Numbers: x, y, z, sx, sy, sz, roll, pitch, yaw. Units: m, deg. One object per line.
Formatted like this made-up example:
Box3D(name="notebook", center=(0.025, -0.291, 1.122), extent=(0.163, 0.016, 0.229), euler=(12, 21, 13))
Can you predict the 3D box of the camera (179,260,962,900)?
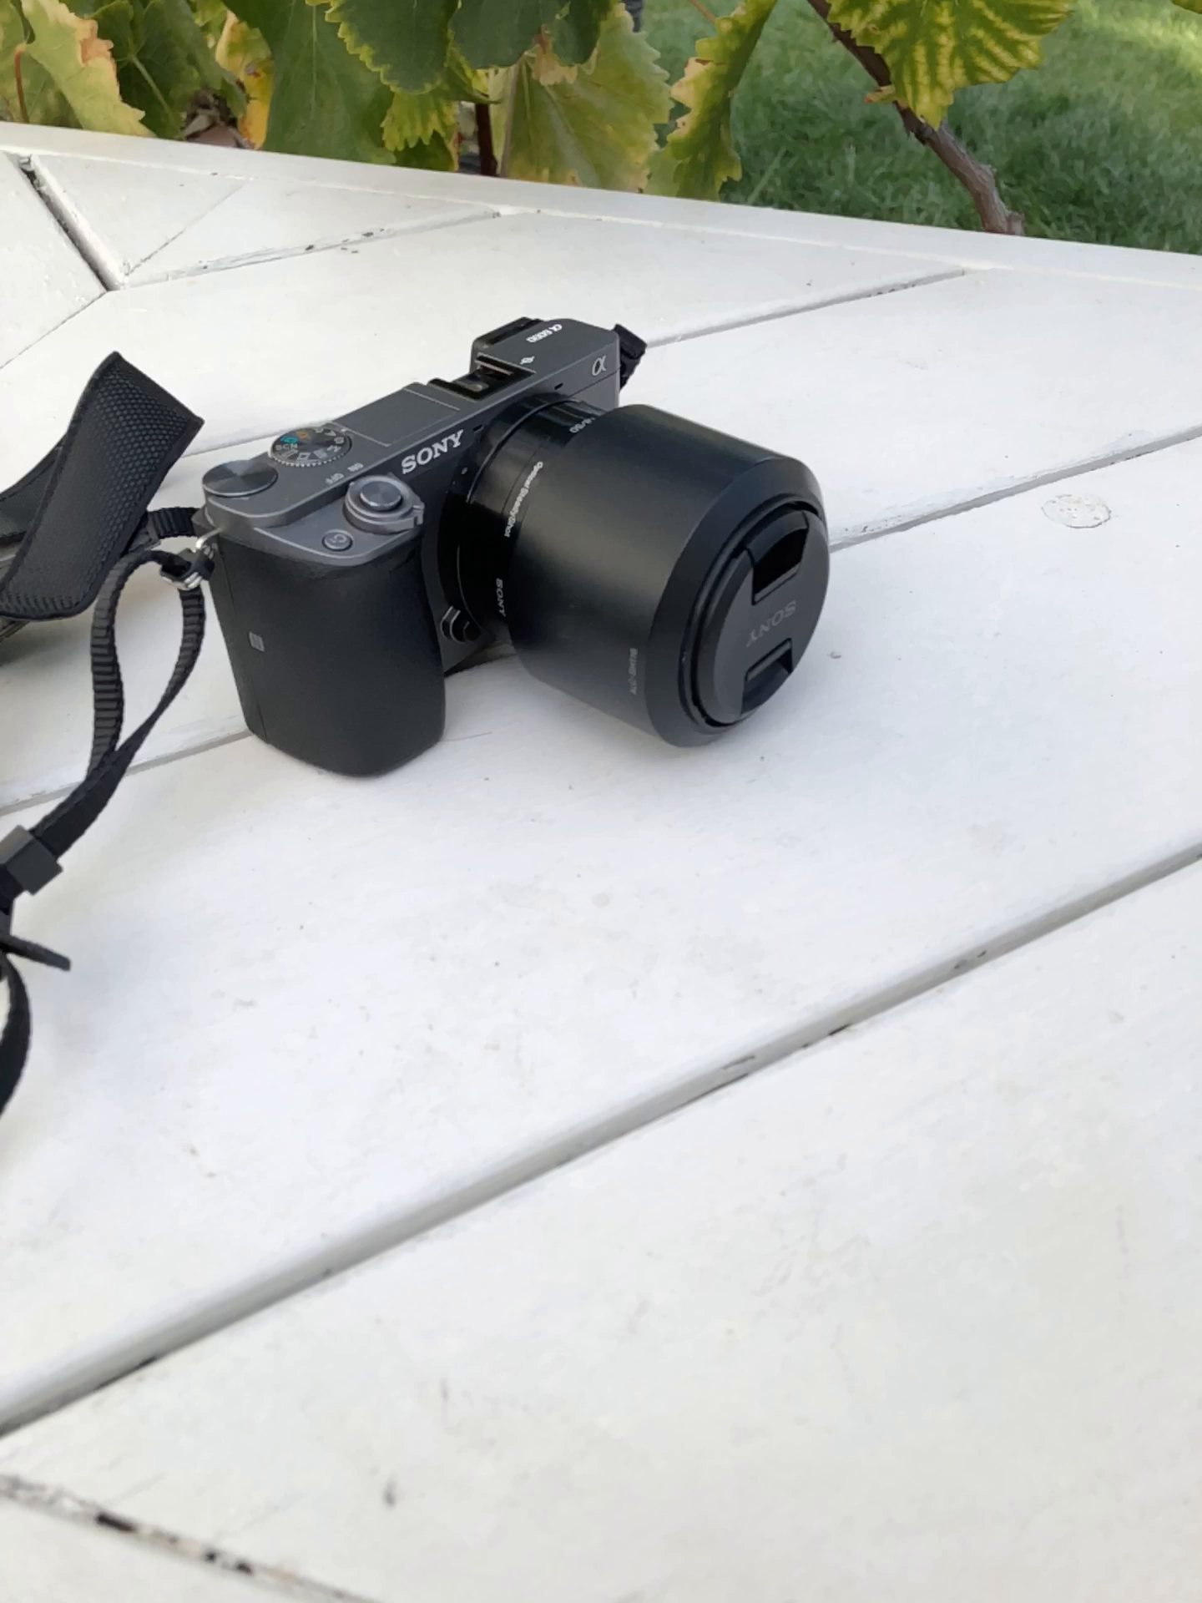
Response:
Box3D(name="camera", center=(-0.002, -0.064, 0.317), extent=(0.110, 0.070, 0.141), euler=(28, 47, 28))
